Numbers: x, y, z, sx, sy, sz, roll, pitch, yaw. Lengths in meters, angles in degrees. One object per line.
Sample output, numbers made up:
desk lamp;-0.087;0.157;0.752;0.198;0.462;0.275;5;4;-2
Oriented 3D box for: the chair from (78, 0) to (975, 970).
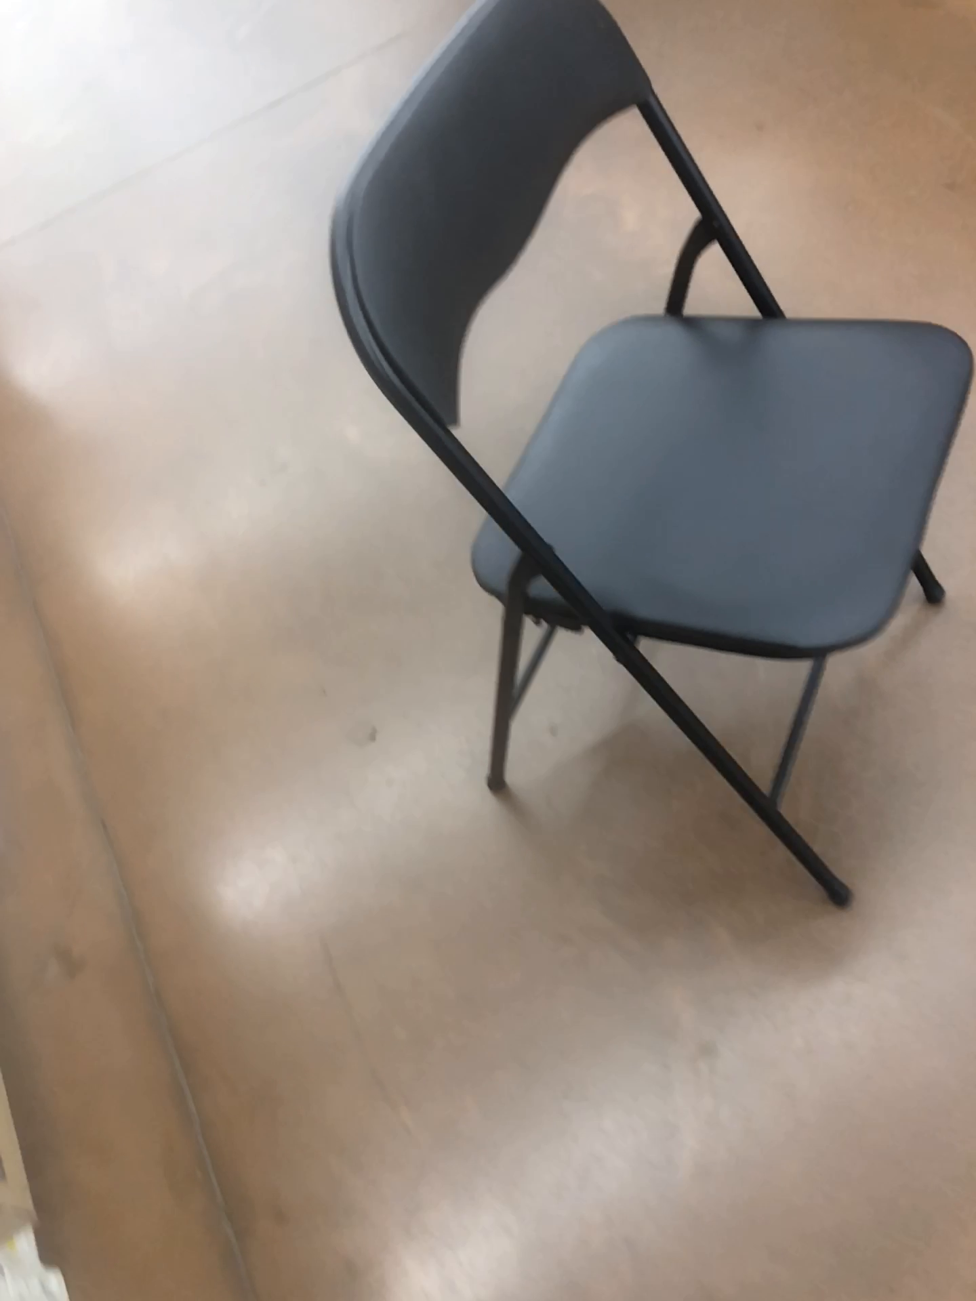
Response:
chair;0.161;-0.160;0.986;0.491;0.757;0.521;14;62;27
